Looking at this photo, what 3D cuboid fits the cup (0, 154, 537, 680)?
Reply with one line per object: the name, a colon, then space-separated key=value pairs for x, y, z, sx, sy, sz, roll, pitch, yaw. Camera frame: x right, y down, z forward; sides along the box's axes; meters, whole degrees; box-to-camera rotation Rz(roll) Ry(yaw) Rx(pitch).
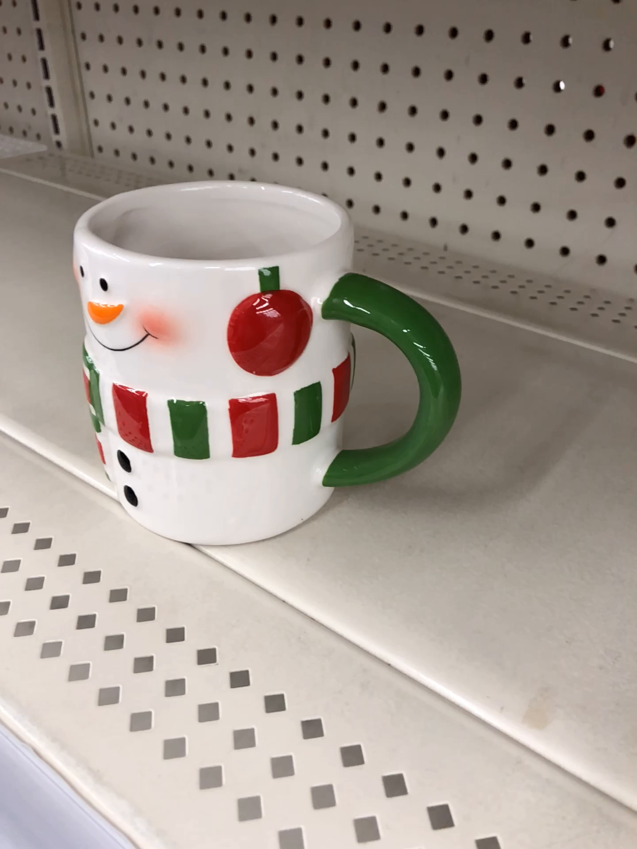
cup: x=-0.016 y=-0.014 z=0.234 sx=0.130 sy=0.110 sz=0.090 roll=20 pitch=38 yaw=26
